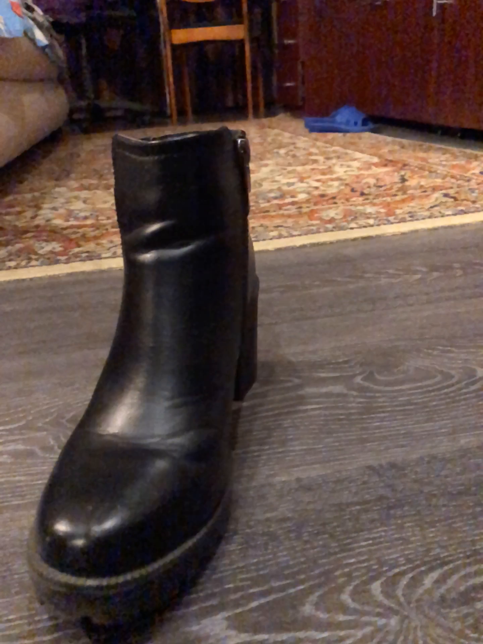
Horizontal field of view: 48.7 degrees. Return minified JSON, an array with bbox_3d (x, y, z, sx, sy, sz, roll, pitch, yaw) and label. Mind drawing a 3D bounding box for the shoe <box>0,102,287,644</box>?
[{"bbox_3d":[-0.043,-0.006,0.273,0.090,0.179,0.241,2,25,14],"label":"shoe"}]
